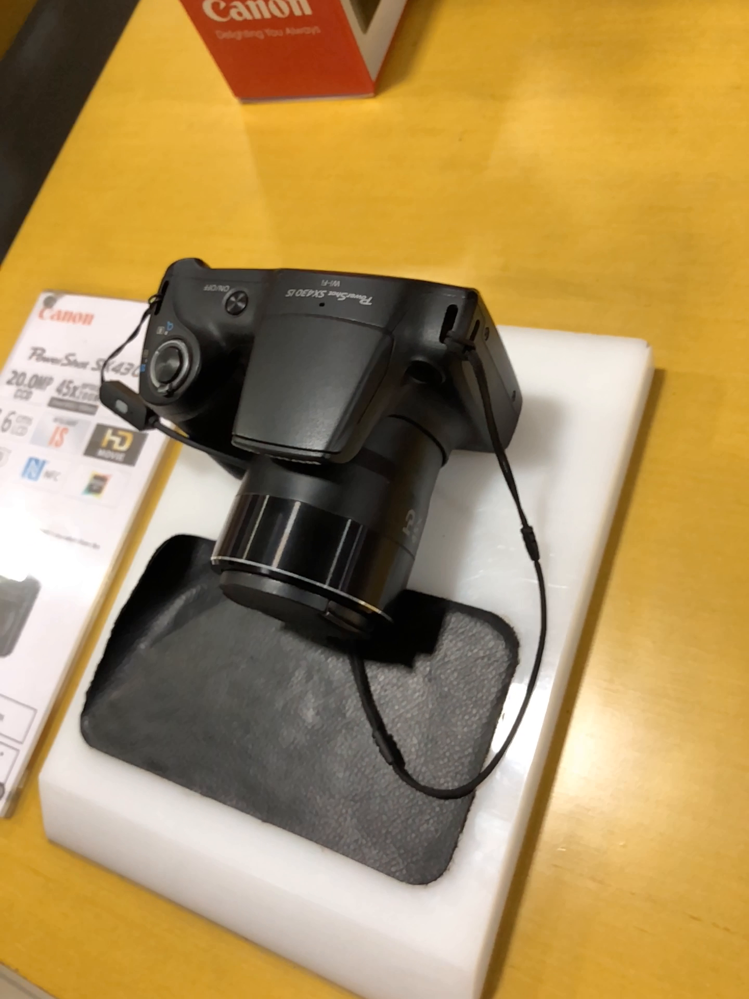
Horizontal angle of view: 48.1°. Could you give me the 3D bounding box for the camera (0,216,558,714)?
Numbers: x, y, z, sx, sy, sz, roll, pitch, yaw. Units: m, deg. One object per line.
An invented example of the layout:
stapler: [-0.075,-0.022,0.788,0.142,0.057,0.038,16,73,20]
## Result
camera: [-0.022,-0.009,0.229,0.110,0.090,0.090,11,72,25]
